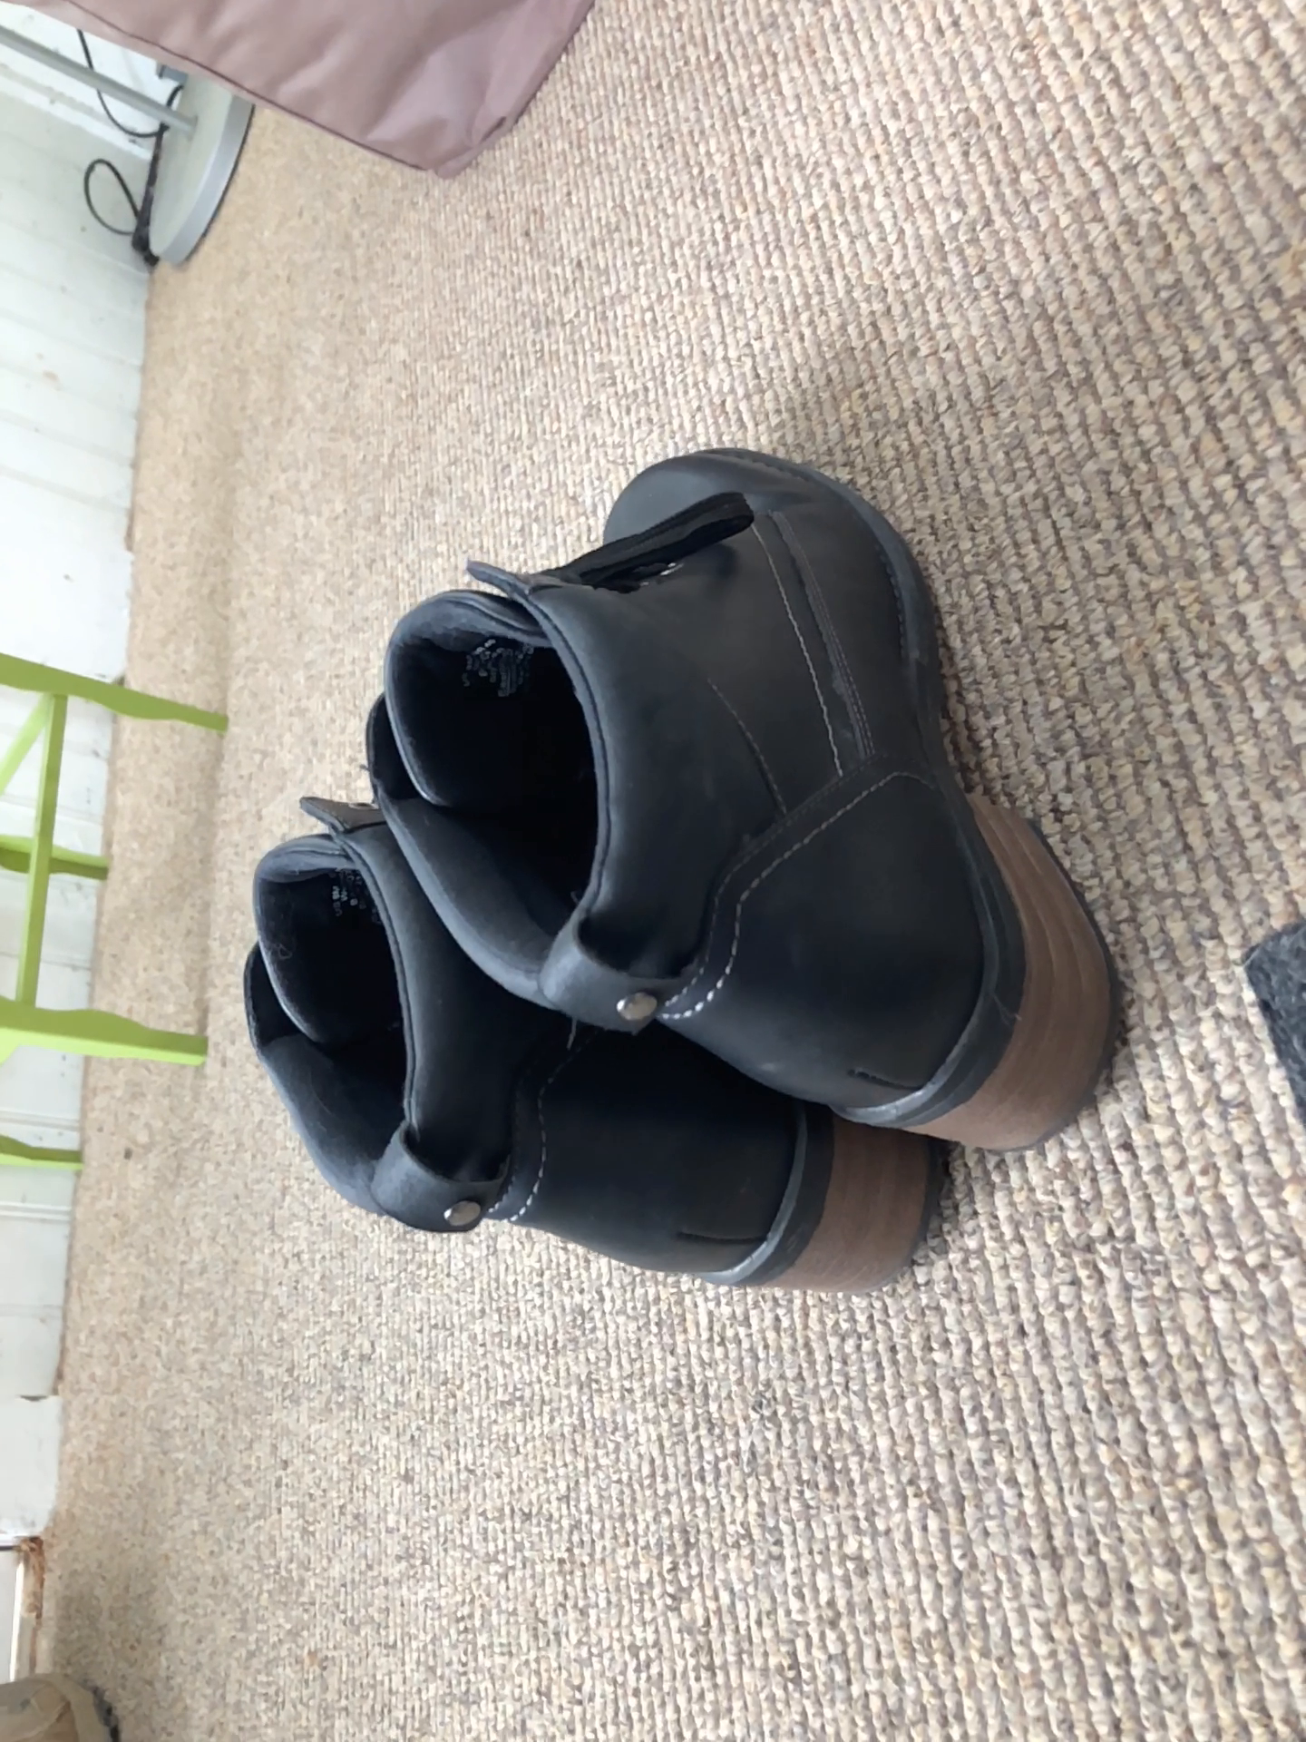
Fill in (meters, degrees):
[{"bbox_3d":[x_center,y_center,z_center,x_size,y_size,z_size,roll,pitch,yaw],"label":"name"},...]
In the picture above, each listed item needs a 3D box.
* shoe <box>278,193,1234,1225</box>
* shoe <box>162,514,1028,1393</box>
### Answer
[{"bbox_3d":[0.005,-0.053,0.398,0.094,0.162,0.274,-53,39,30],"label":"shoe"},{"bbox_3d":[-0.040,0.014,0.445,0.097,0.165,0.268,-59,36,23],"label":"shoe"}]
